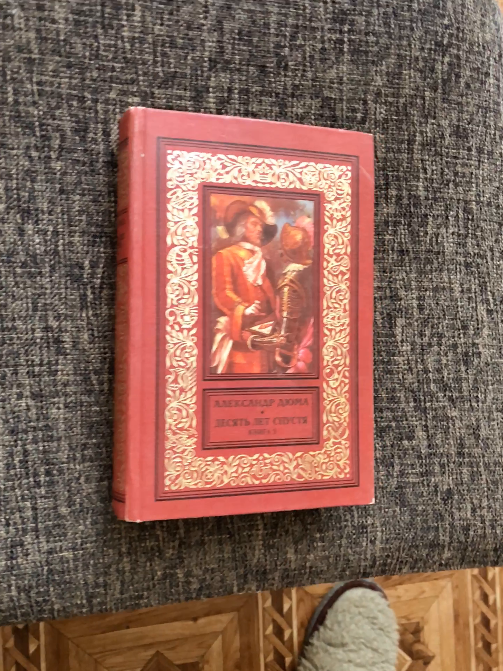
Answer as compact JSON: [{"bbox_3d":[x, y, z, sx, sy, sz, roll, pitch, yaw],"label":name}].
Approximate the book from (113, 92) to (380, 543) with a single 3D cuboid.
[{"bbox_3d":[-0.003,-0.009,0.288,0.131,0.038,0.206,0,88,-14],"label":"book"}]
